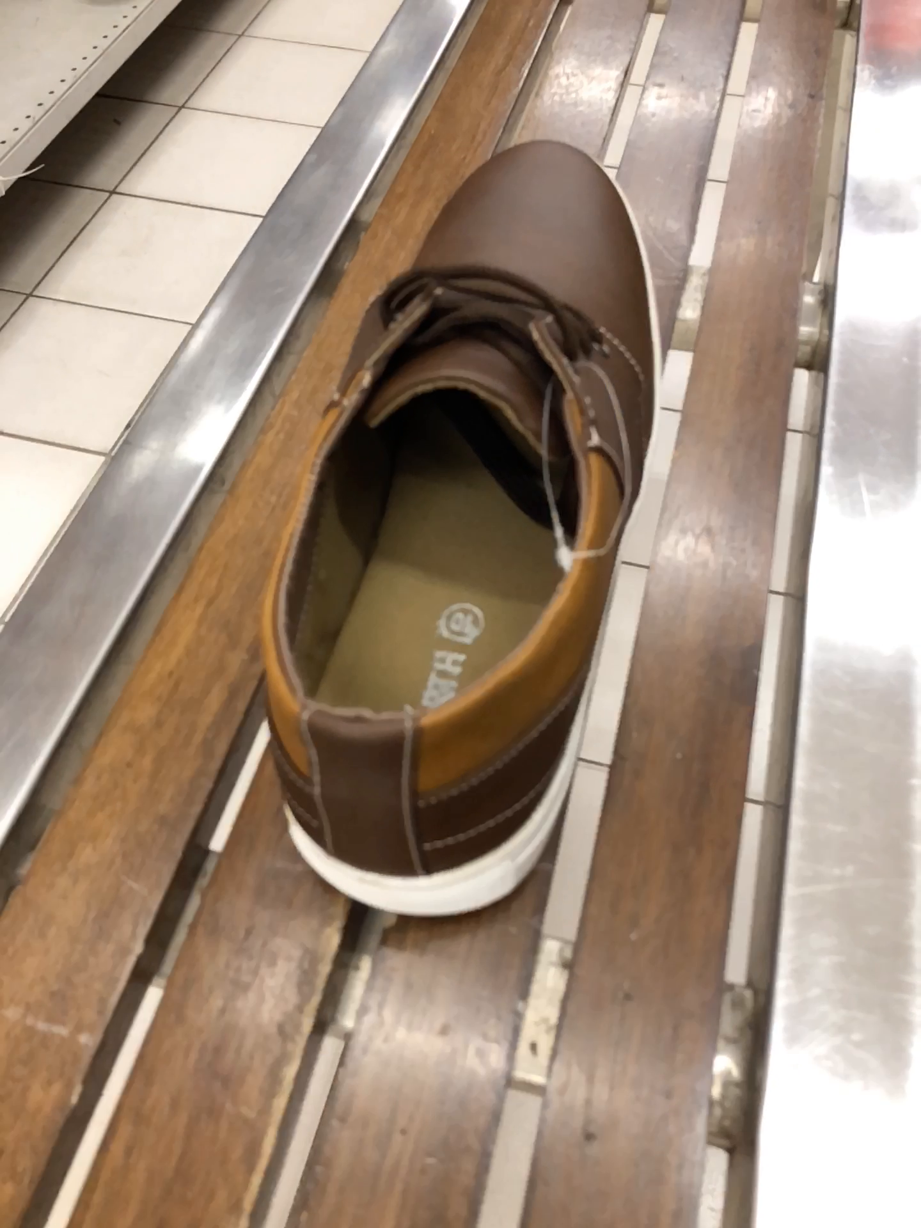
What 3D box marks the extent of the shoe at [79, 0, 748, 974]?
[{"bbox_3d":[0.016,-0.072,0.312,0.109,0.114,0.313,8,56,8],"label":"shoe"}]
